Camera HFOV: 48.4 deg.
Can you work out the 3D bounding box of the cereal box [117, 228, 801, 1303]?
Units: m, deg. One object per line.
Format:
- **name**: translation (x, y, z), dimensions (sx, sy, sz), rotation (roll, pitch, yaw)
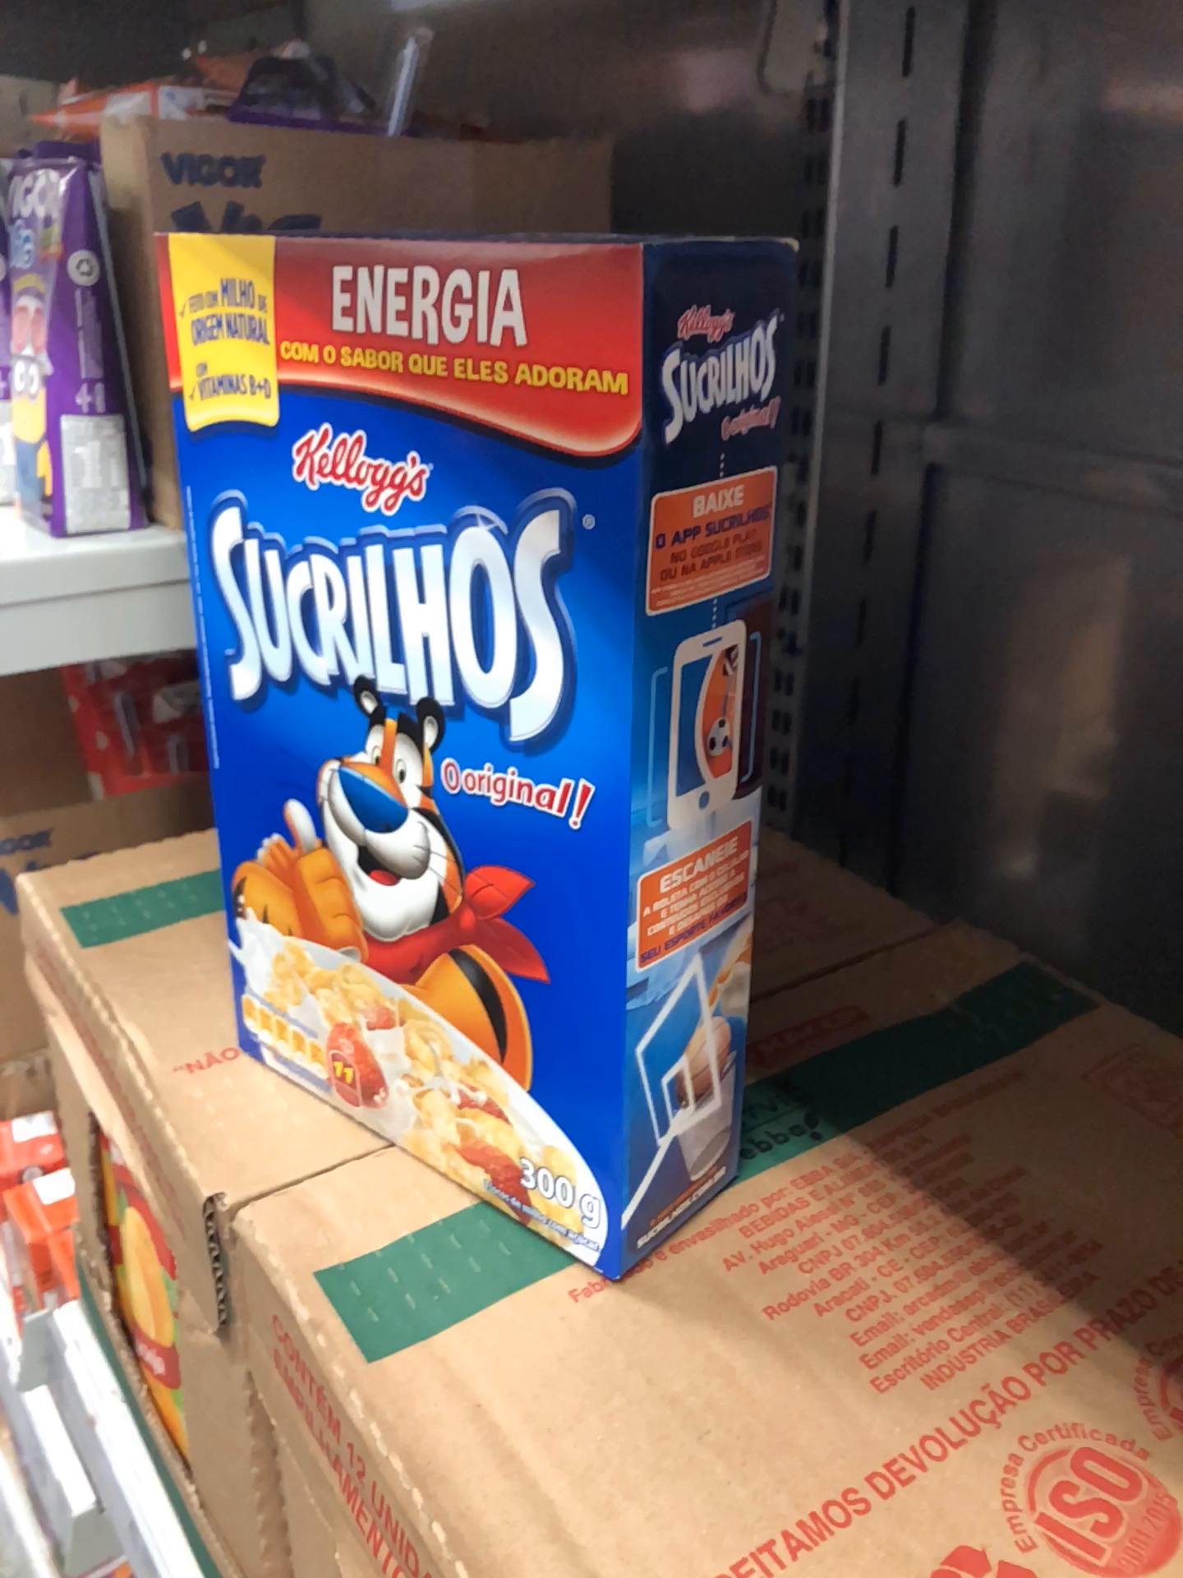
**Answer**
- **cereal box**: translation (-0.038, -0.016, 0.357), dimensions (0.171, 0.248, 0.060), rotation (18, 29, 38)
